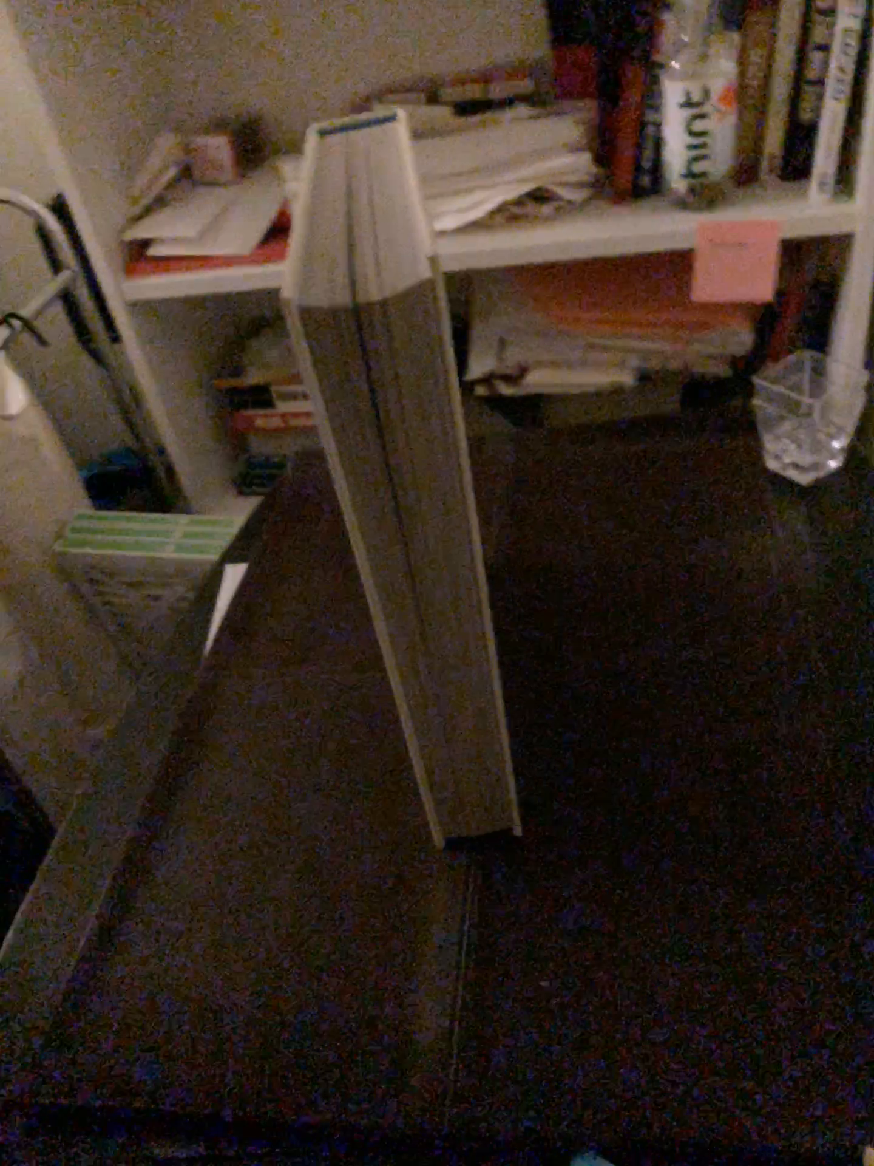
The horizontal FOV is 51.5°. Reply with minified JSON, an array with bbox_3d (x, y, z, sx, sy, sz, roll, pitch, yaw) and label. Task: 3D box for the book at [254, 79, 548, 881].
[{"bbox_3d":[-0.003,-0.044,0.391,0.050,0.268,0.211,-9,38,4],"label":"book"}]
